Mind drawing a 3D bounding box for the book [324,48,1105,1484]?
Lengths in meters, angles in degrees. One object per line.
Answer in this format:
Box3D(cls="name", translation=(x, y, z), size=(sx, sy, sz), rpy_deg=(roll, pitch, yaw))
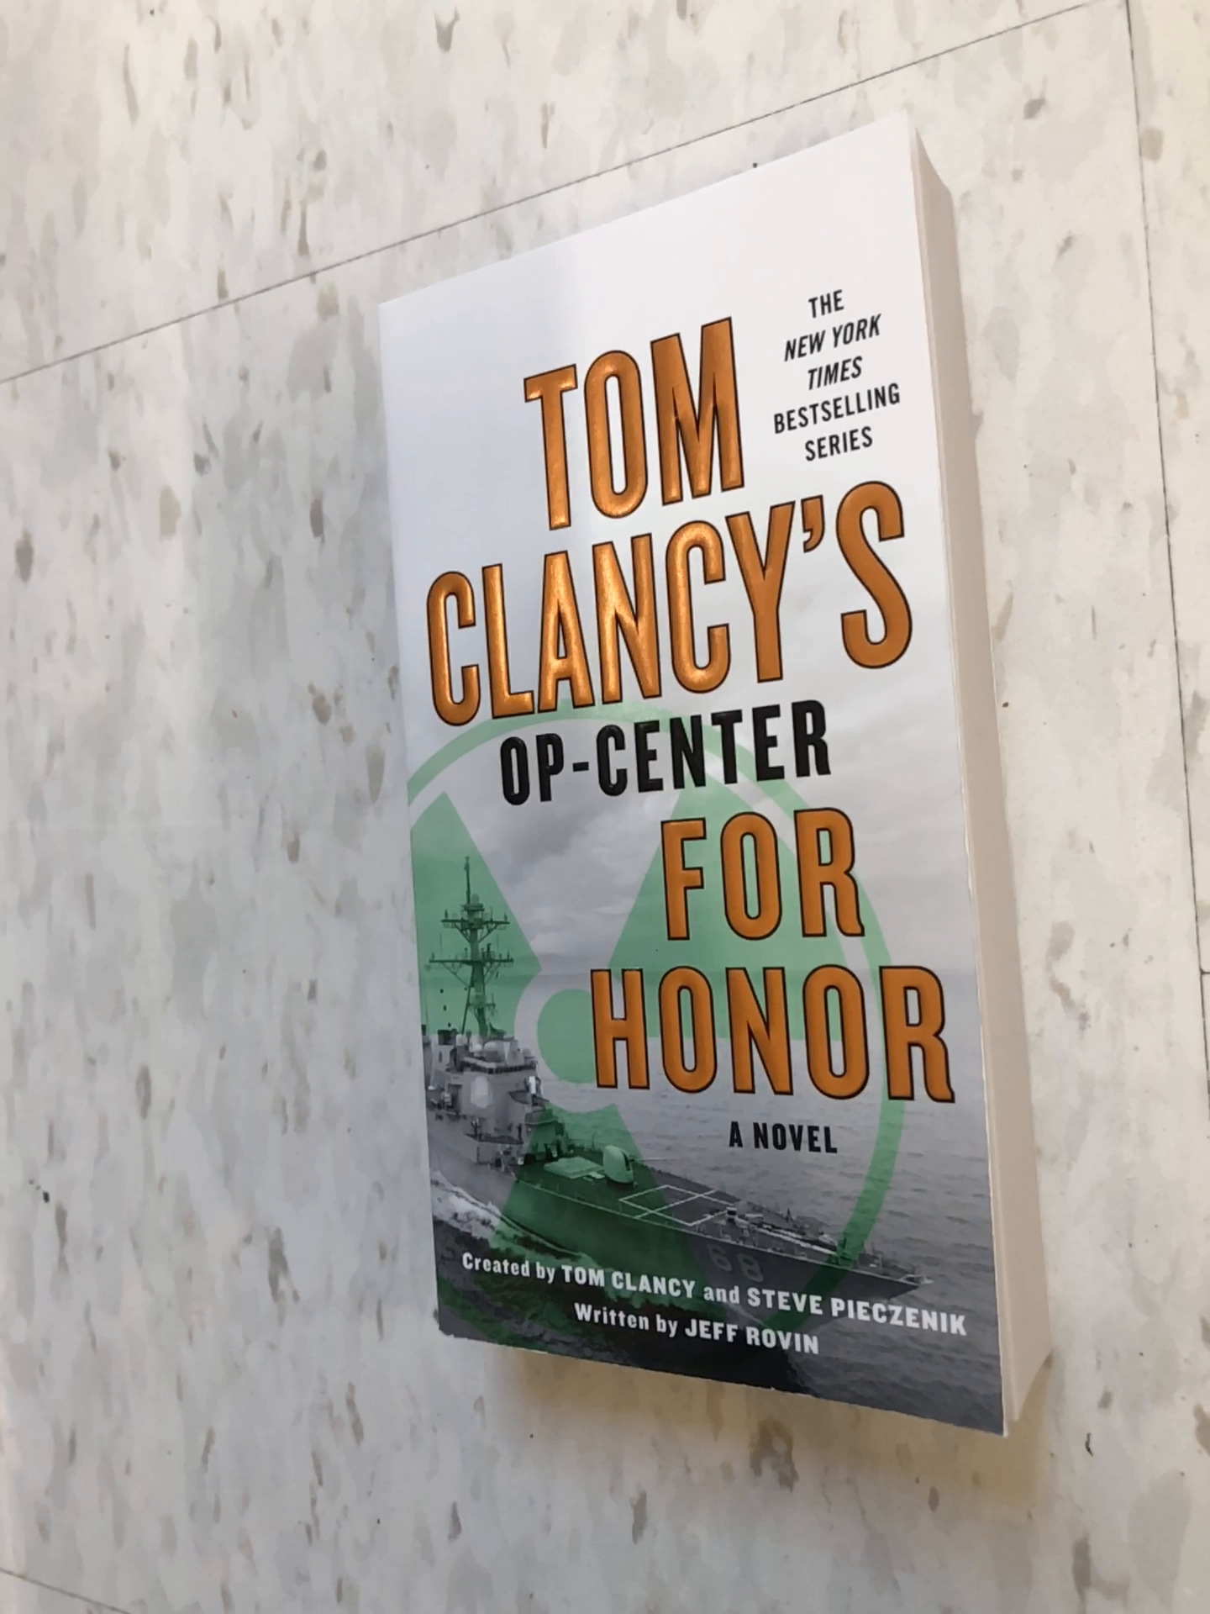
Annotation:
Box3D(cls="book", translation=(0.016, -0.003, 0.235), size=(0.110, 0.050, 0.200), rpy_deg=(-6, 87, 30))
